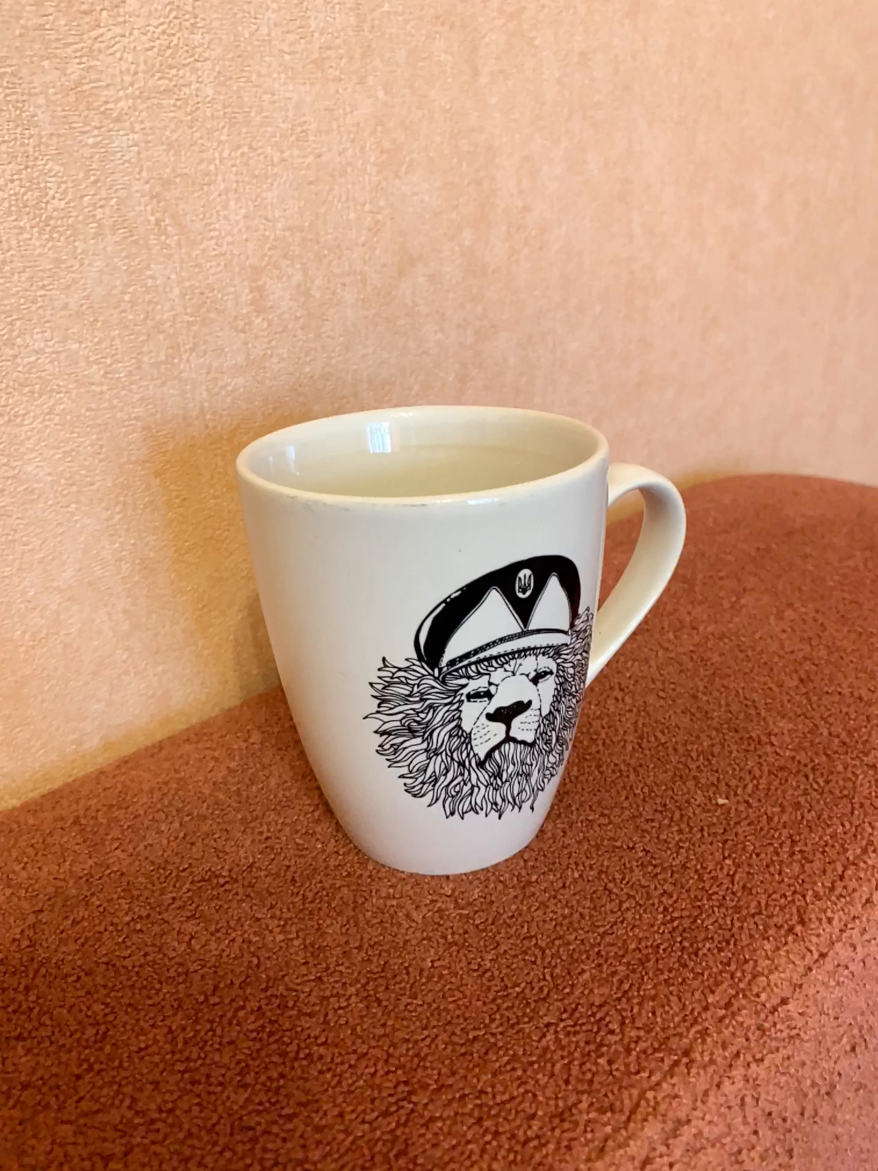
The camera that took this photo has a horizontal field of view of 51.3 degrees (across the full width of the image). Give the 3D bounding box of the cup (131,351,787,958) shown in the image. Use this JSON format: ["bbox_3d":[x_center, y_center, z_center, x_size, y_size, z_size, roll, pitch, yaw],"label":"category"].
[{"bbox_3d":[0.002,0.003,0.245,0.126,0.095,0.106,-16,28,-24],"label":"cup"}]
